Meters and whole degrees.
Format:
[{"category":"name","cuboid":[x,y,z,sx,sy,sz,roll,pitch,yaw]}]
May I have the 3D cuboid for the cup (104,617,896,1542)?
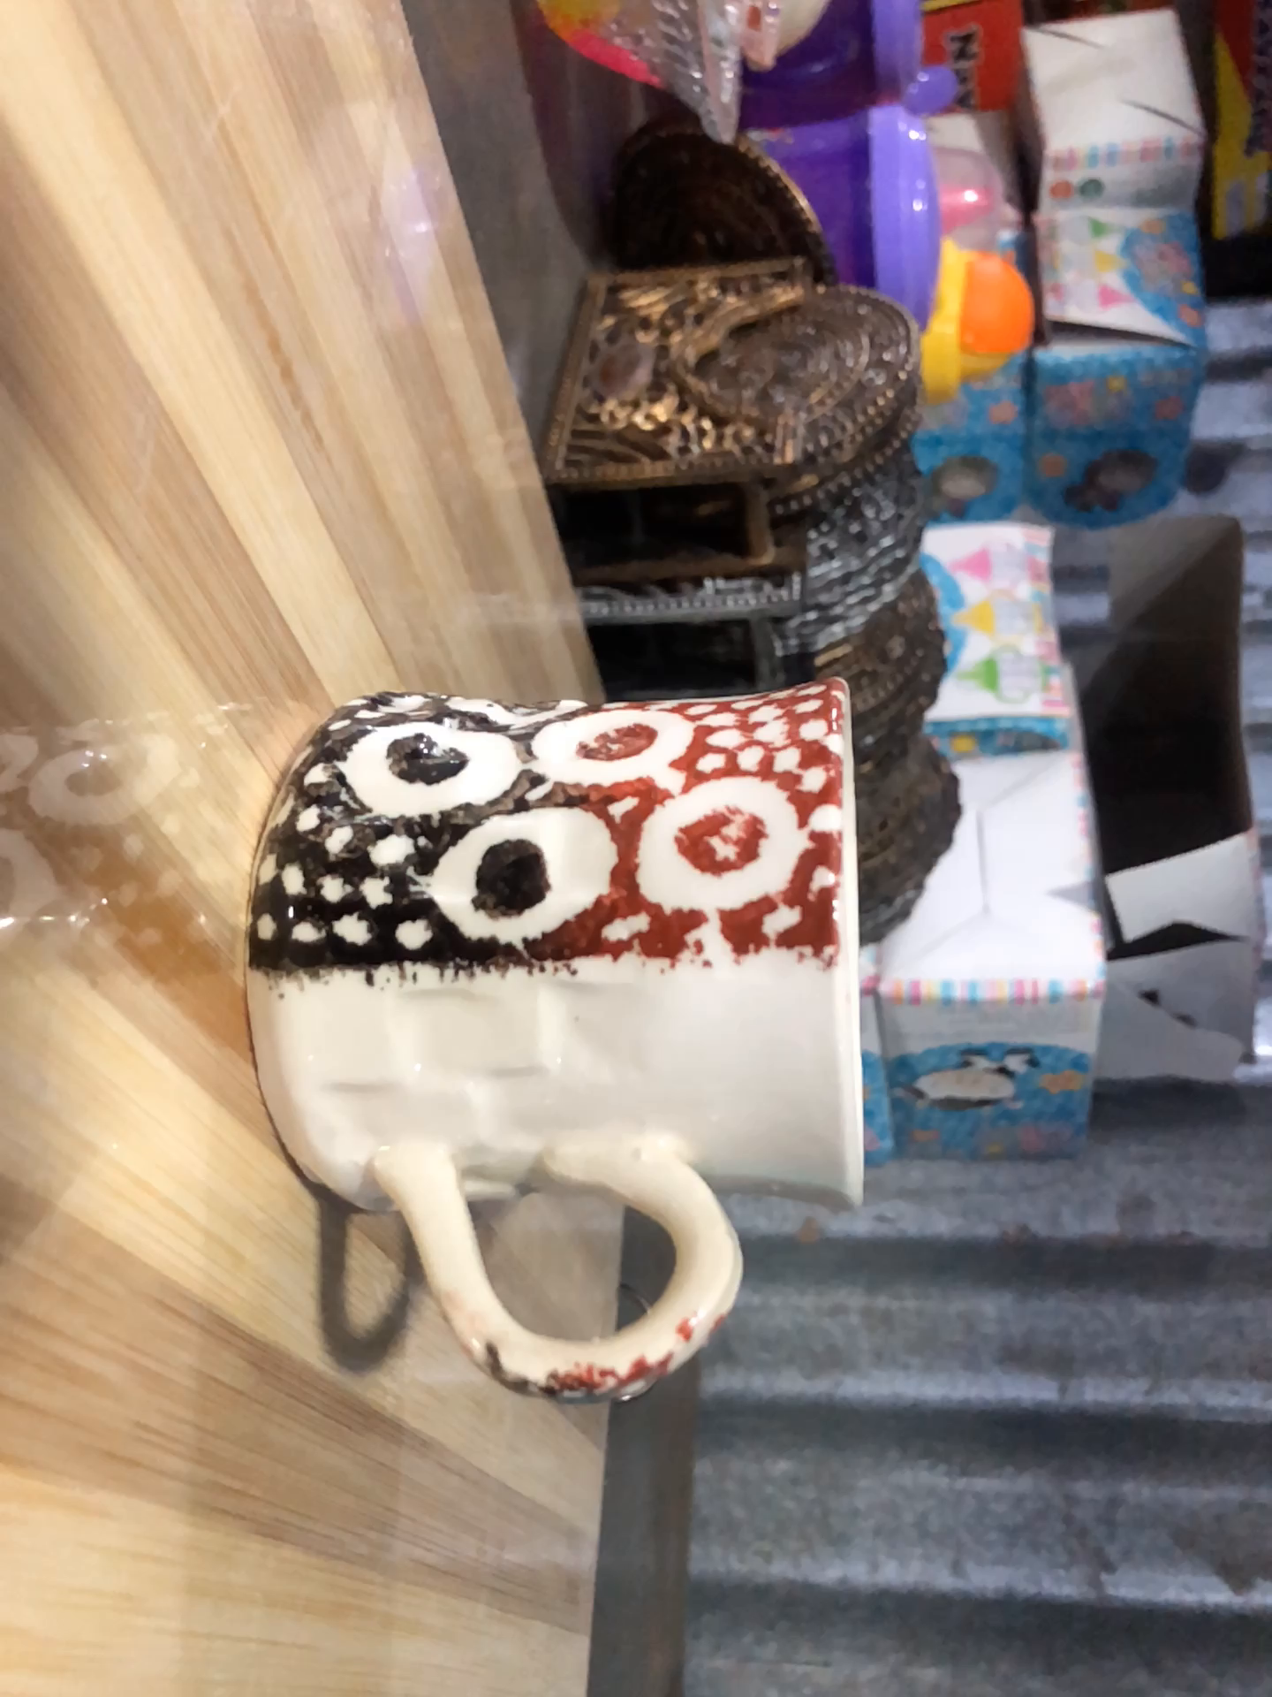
[{"category":"cup","cuboid":[-0.005,0.027,0.173,0.060,0.070,0.090,77,15,-53]}]
